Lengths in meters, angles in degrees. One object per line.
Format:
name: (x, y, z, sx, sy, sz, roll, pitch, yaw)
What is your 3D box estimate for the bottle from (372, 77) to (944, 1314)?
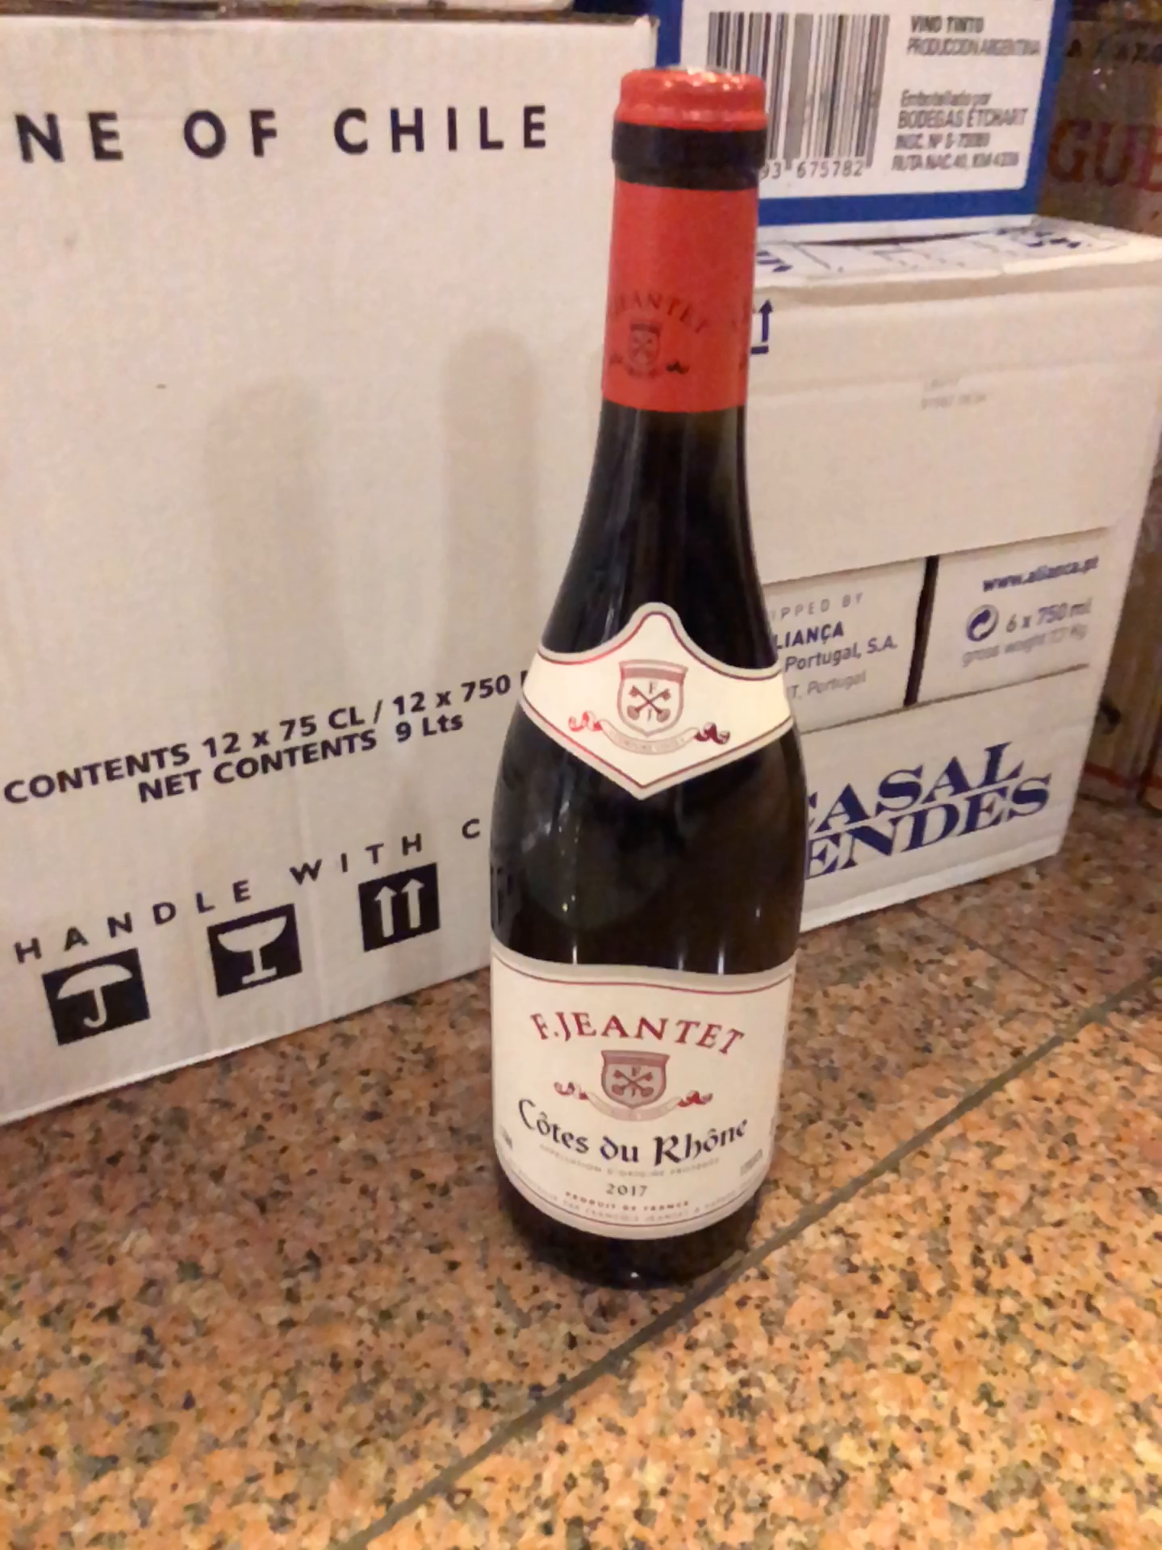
bottle: (0.010, -0.001, 0.308, 0.090, 0.288, 0.081, 1, 30, 0)
